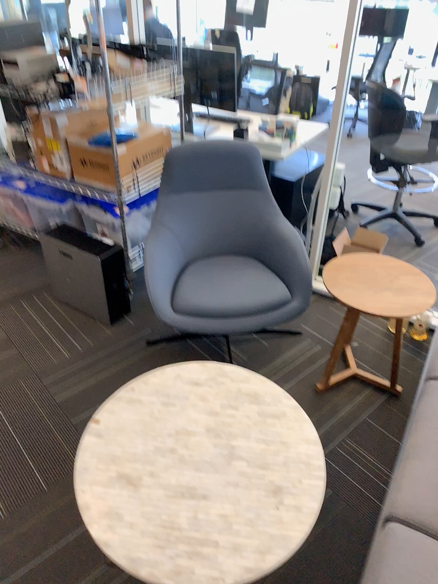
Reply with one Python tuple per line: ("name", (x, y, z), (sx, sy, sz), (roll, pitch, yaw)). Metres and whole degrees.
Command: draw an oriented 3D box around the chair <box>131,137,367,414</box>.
("chair", (0.056, -0.133, 2.251), (0.840, 0.964, 1.007), (-3, 36, -5))
